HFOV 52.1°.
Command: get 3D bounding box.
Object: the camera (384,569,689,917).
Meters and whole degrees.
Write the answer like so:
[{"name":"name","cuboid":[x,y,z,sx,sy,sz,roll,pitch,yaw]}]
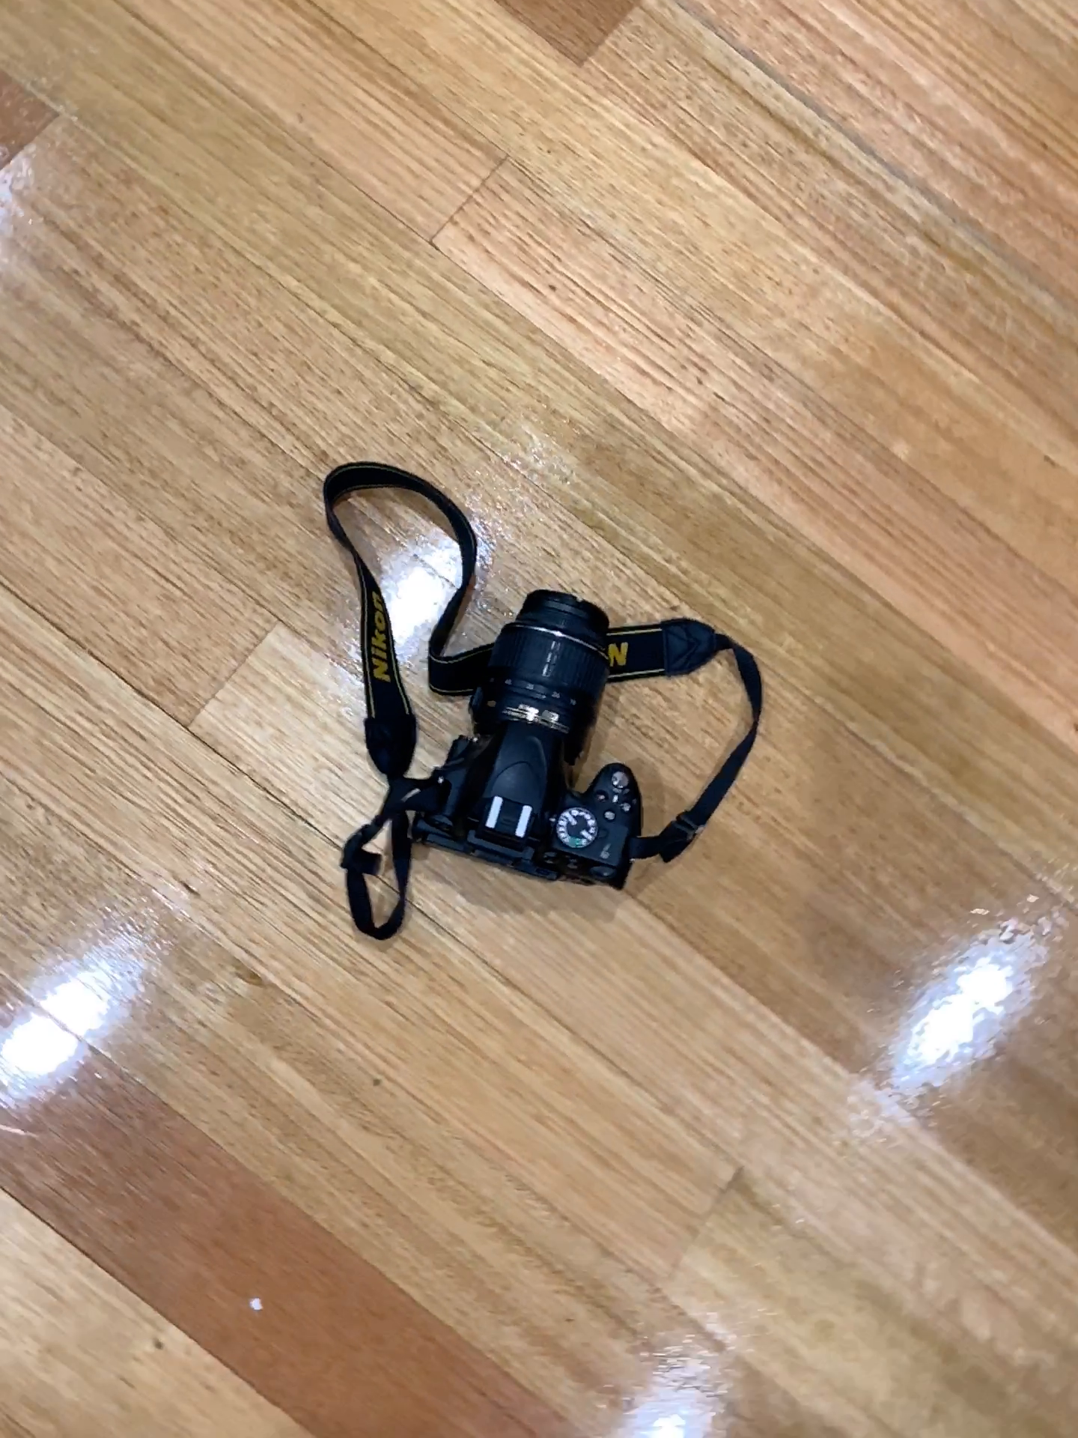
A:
[{"name":"camera","cuboid":[-0.004,0.019,0.636,0.130,0.100,0.160,14,80,-4]}]
